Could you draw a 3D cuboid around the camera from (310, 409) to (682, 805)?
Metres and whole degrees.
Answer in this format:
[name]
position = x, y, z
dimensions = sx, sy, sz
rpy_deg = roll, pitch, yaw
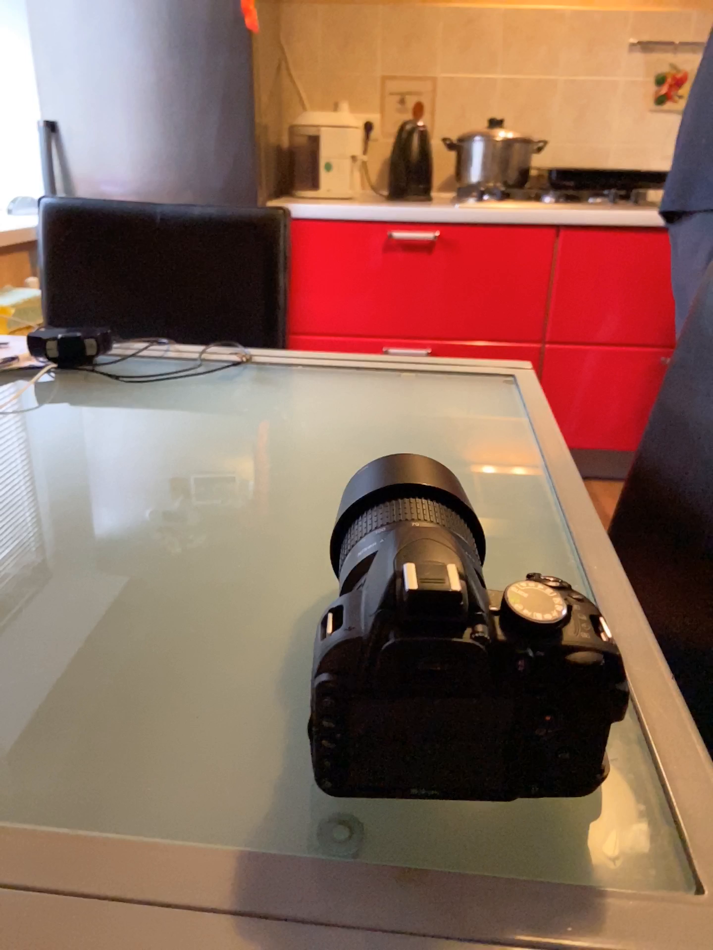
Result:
[camera]
position = 0.049, 0.048, 0.379
dimensions = 0.134, 0.099, 0.210
rpy_deg = 1, 23, 0
